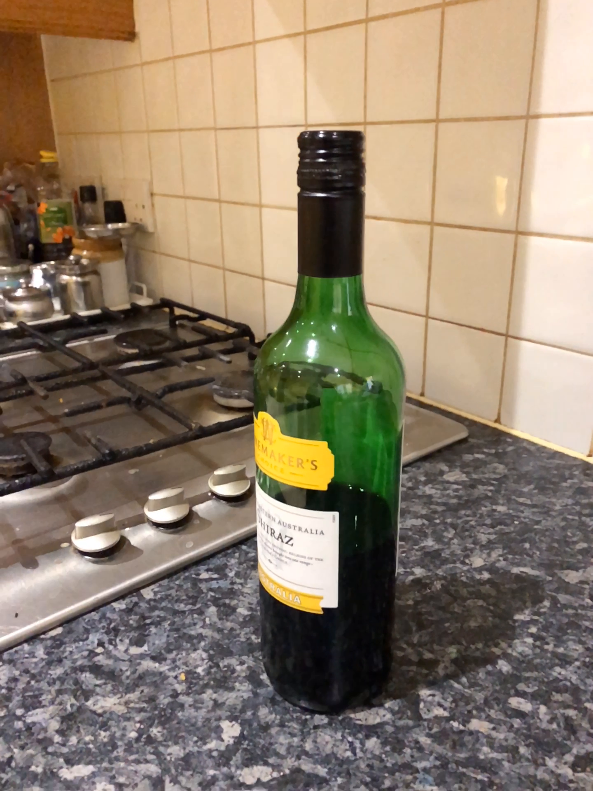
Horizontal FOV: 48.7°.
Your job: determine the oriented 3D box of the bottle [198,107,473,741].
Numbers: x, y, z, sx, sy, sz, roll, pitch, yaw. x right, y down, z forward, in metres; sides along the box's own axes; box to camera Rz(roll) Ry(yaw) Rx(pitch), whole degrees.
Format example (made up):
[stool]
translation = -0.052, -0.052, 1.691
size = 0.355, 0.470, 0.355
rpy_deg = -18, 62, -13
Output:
[bottle]
translation = 0.017, 0.015, 0.318
size = 0.080, 0.278, 0.080
rpy_deg = -1, 20, 0
